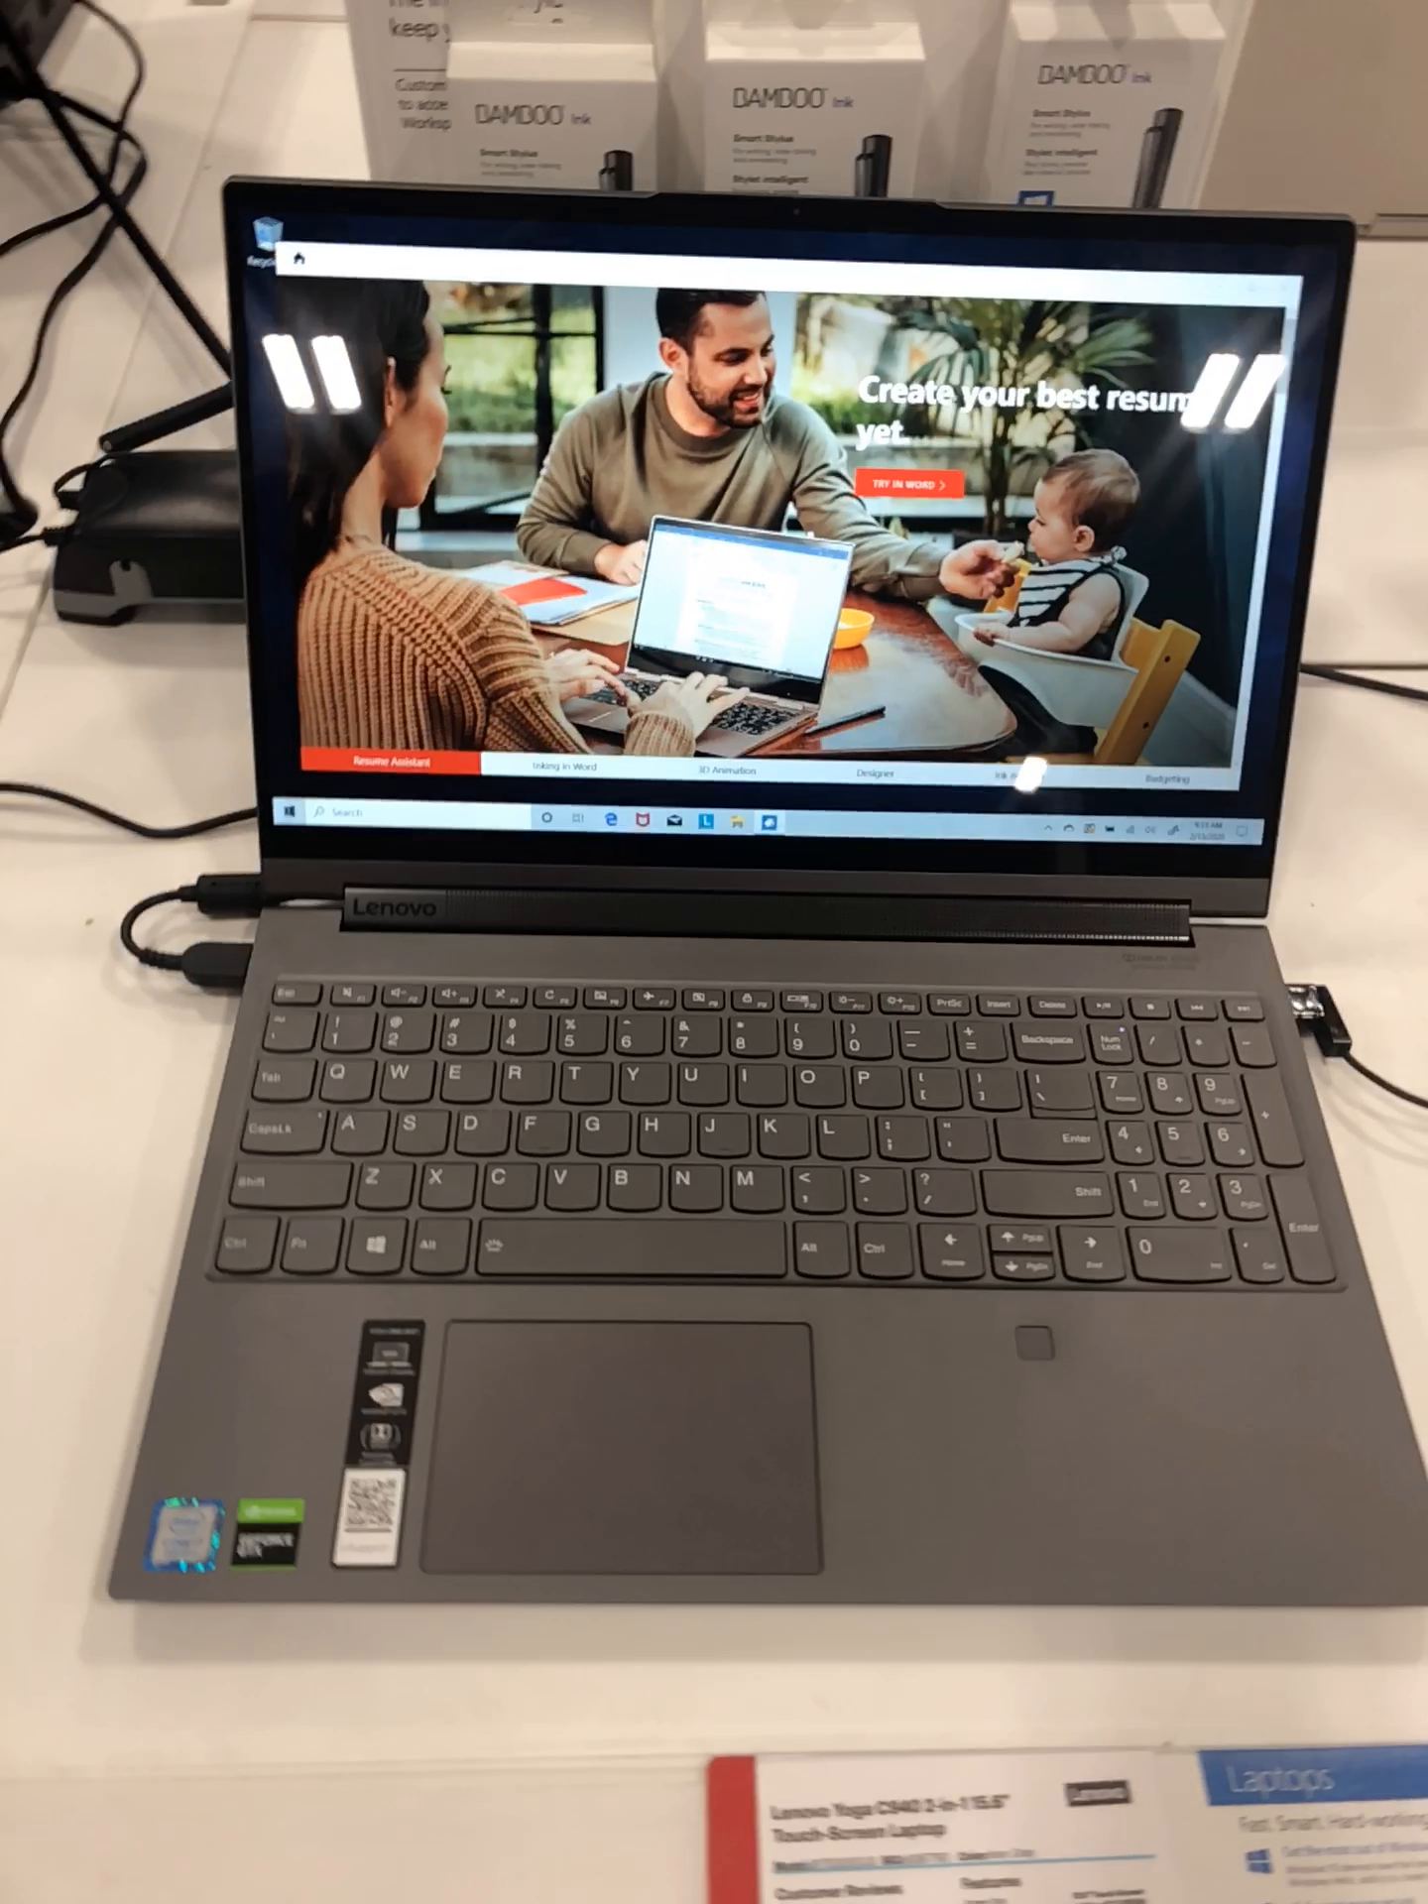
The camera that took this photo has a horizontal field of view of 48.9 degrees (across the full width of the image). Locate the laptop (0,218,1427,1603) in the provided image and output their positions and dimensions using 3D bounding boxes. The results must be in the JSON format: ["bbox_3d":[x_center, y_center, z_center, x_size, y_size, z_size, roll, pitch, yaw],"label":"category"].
[{"bbox_3d":[0.020,-0.031,0.457,0.345,0.189,0.369,1,51,-2],"label":"laptop"}]
